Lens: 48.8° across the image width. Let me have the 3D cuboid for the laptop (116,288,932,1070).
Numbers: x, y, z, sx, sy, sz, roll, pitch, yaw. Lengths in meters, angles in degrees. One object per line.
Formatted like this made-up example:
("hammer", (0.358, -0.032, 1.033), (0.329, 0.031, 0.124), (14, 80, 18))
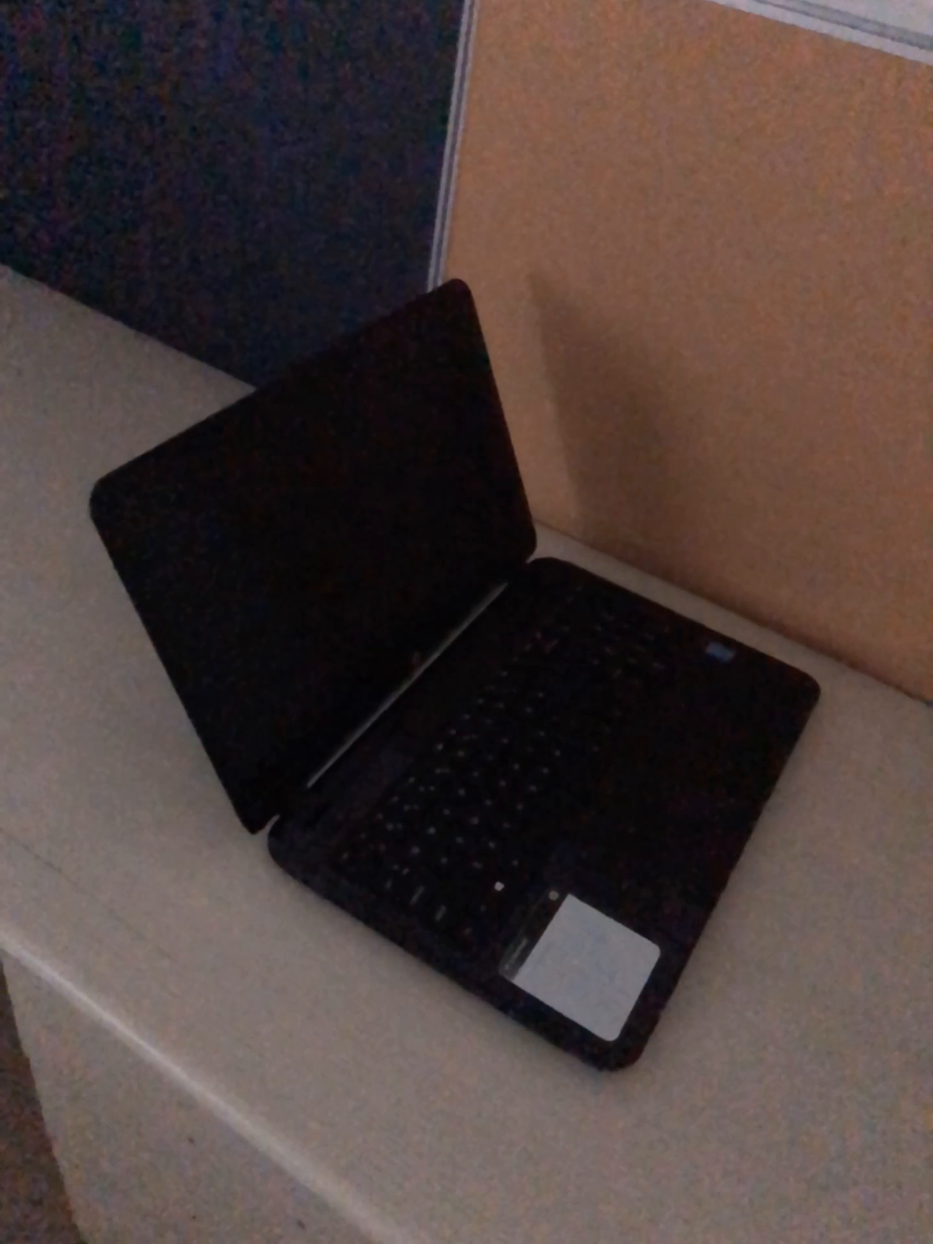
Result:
("laptop", (0.046, -0.006, 0.659), (0.351, 0.205, 0.357), (27, 45, 19))
